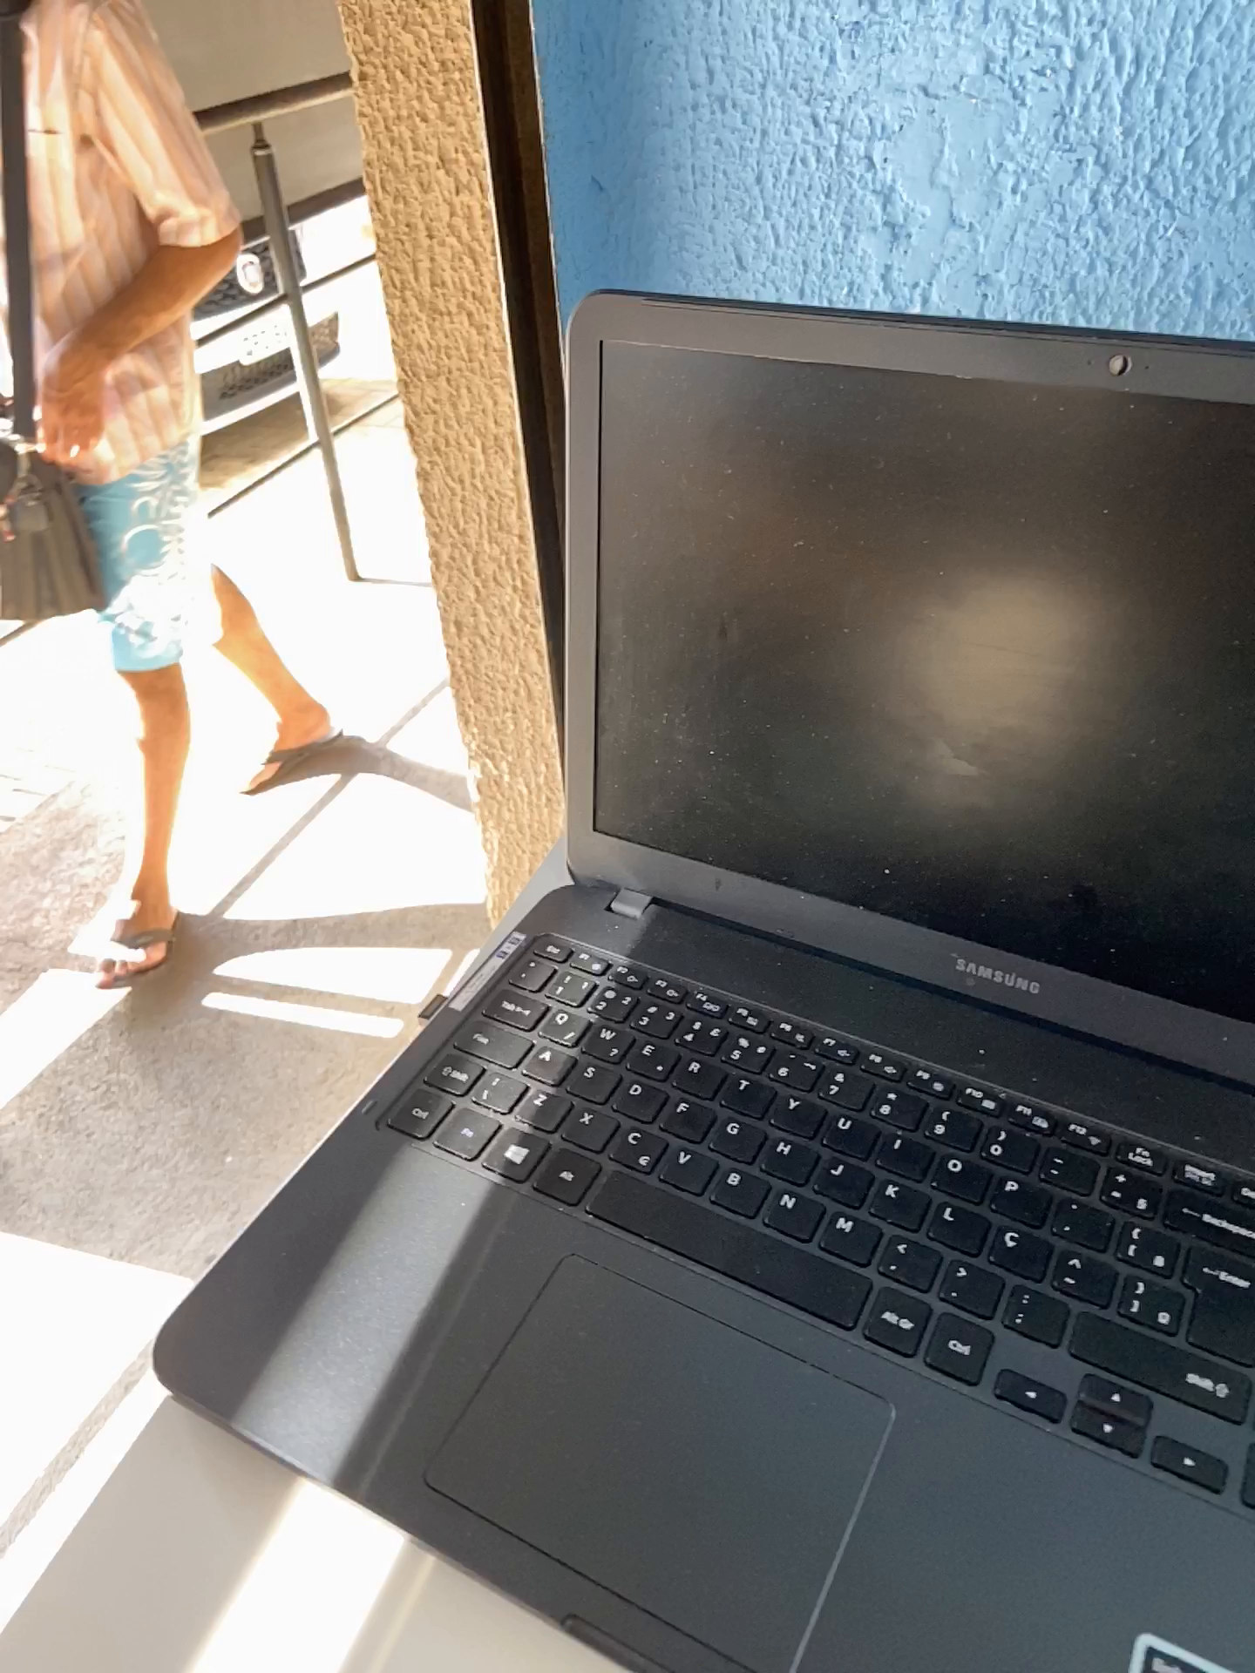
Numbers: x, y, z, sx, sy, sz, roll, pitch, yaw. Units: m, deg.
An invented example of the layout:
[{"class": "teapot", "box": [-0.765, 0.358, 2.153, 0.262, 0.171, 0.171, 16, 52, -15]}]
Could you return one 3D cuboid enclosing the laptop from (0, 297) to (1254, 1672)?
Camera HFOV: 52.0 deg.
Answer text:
[{"class": "laptop", "box": [0.079, 0.030, 0.341, 0.371, 0.232, 0.288, 16, 41, 25]}]
